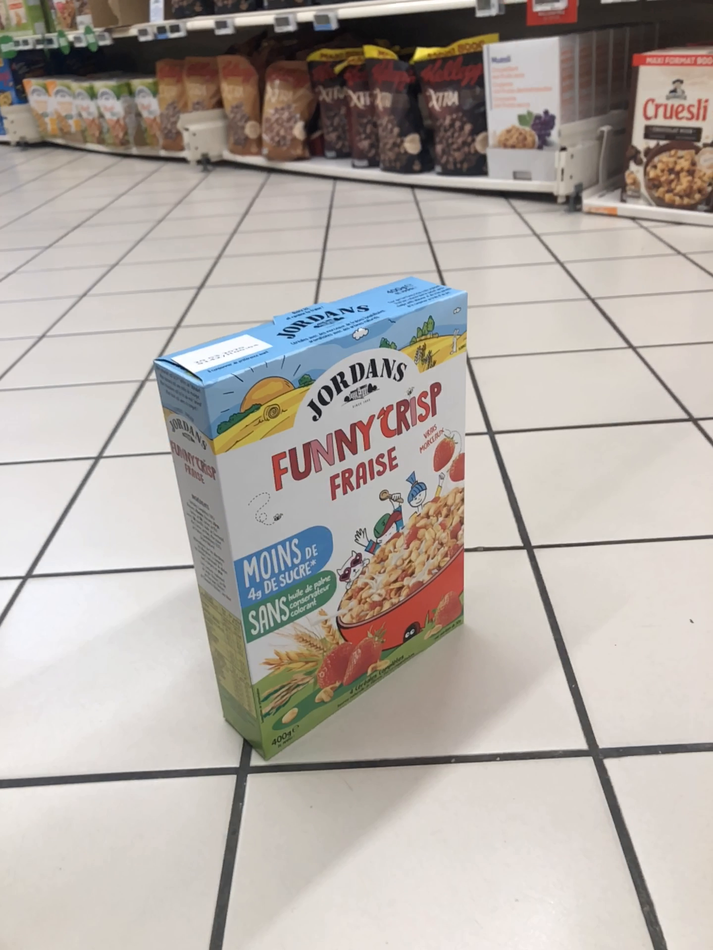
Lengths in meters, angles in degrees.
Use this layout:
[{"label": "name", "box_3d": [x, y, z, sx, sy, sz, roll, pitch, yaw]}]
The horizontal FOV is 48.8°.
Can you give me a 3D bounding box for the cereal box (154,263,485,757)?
[{"label": "cereal box", "box_3d": [-0.004, 0.017, 0.445, 0.171, 0.229, 0.050, -26, 35, -33]}]
